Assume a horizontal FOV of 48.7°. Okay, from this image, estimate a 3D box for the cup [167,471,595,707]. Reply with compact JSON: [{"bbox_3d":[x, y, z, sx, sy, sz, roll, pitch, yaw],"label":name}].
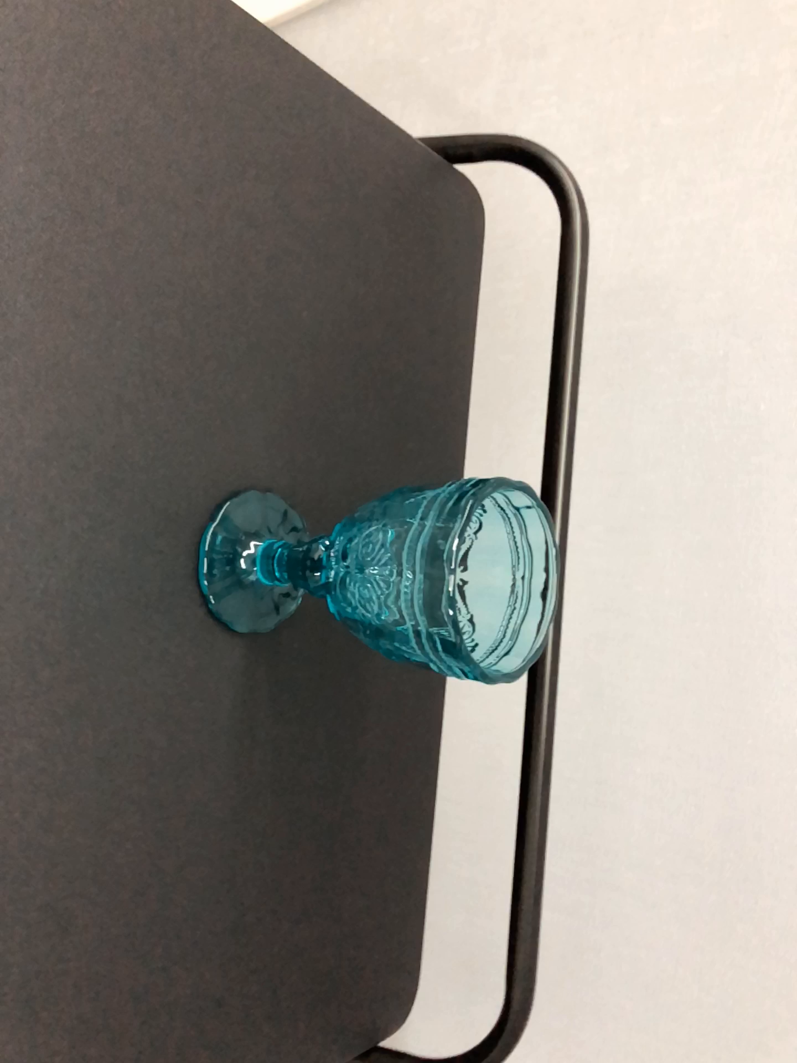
[{"bbox_3d":[-0.010,0.024,0.403,0.096,0.164,0.085,12,82,-51],"label":"cup"}]
